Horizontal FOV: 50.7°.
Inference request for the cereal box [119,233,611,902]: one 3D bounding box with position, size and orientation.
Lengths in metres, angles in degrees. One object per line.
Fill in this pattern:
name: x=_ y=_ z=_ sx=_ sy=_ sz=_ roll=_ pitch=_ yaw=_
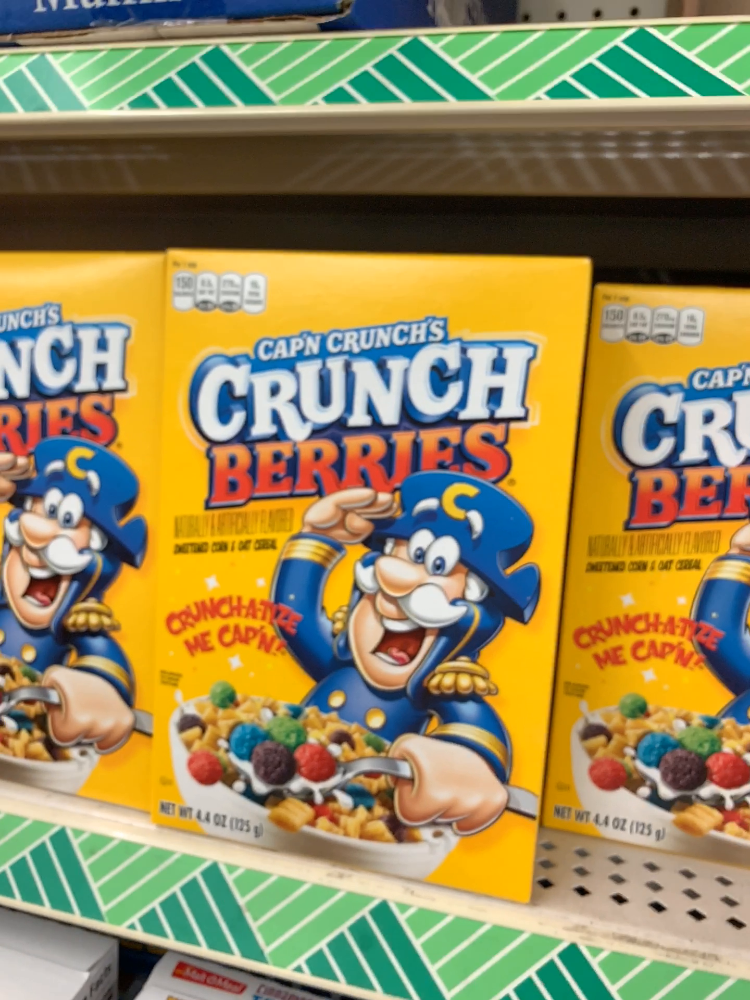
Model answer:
cereal box: x=-0.007 y=0.016 z=0.275 sx=0.150 sy=0.200 sz=0.050 roll=5 pitch=8 yaw=14
